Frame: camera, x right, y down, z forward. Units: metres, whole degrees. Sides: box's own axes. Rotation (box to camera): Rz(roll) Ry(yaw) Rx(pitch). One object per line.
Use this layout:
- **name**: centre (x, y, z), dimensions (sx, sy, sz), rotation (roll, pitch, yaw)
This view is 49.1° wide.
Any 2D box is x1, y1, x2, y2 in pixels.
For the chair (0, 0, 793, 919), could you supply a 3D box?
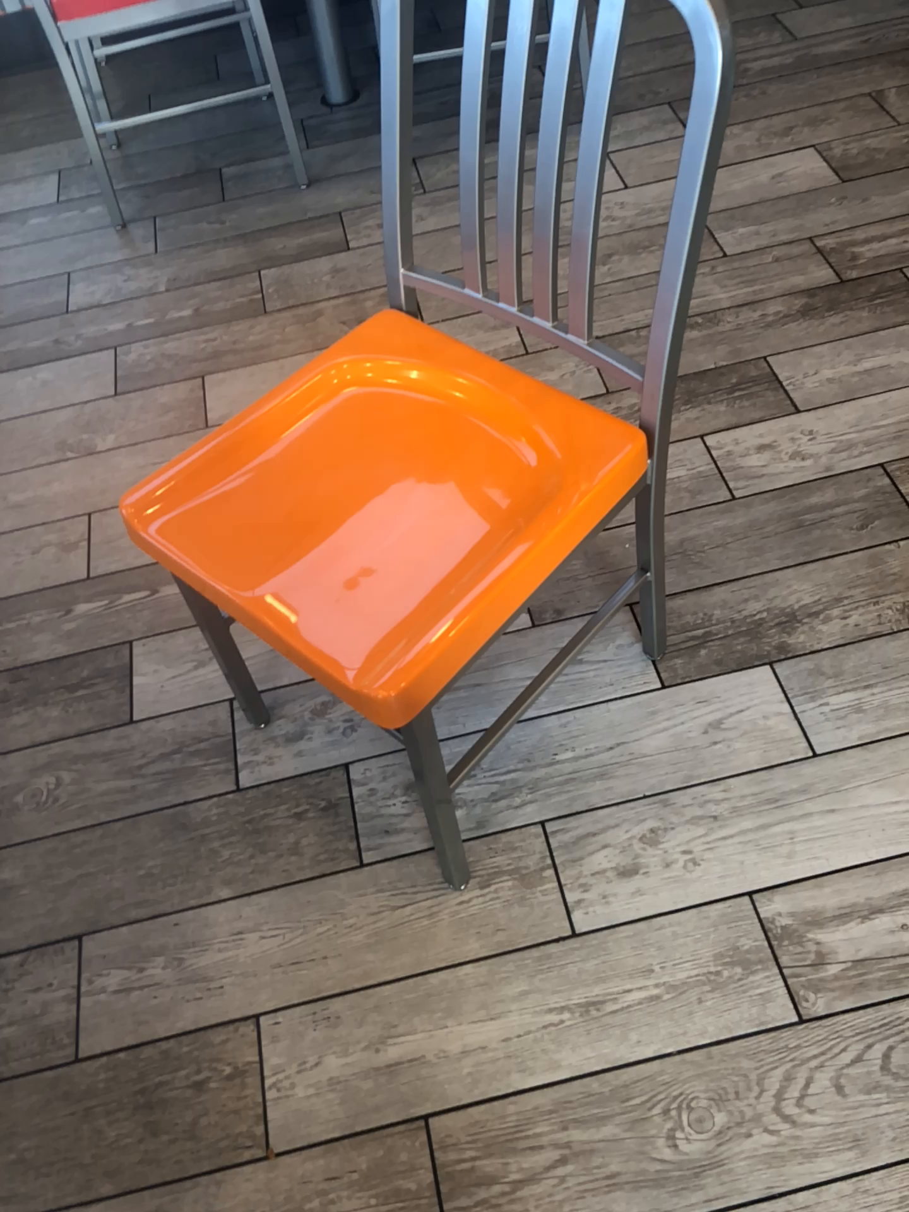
- **chair**: centre (-0.068, -0.166, 1.011), dimensions (0.471, 0.818, 0.510), rotation (33, 64, 28)
